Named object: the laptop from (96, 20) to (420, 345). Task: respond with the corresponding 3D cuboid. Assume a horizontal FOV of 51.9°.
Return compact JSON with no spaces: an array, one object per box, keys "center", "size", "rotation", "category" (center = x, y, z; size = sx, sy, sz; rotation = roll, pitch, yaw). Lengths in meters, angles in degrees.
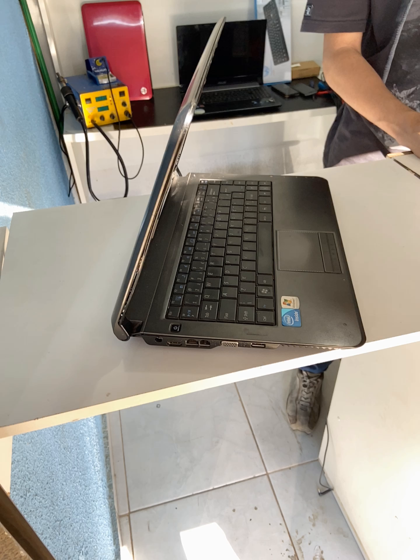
[{"center":[0.049,-0.131,0.464],"size":[0.205,0.206,0.332],"rotation":[2,40,6],"category":"laptop"}]
